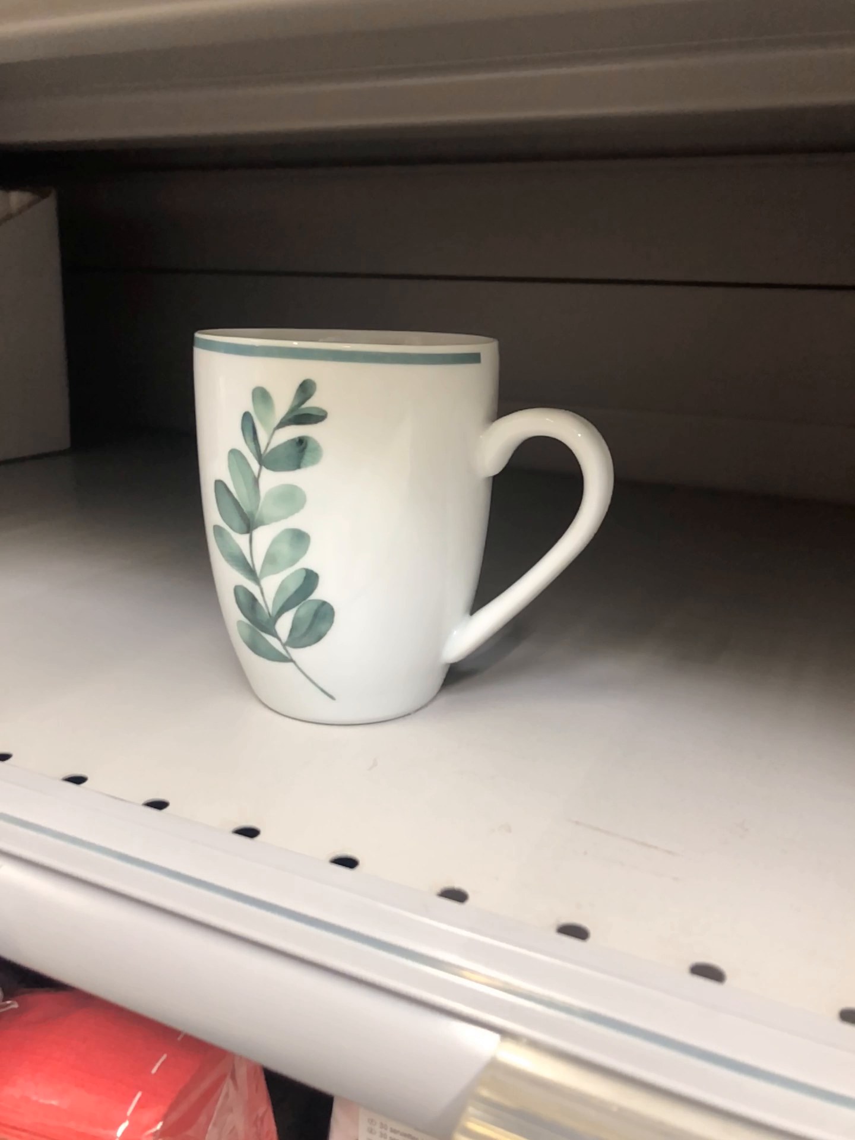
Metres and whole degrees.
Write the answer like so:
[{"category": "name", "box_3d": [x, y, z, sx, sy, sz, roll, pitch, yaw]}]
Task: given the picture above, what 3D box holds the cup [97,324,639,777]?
[{"category": "cup", "box_3d": [-0.014, -0.017, 0.261, 0.116, 0.093, 0.082, 10, 18, 26]}]
